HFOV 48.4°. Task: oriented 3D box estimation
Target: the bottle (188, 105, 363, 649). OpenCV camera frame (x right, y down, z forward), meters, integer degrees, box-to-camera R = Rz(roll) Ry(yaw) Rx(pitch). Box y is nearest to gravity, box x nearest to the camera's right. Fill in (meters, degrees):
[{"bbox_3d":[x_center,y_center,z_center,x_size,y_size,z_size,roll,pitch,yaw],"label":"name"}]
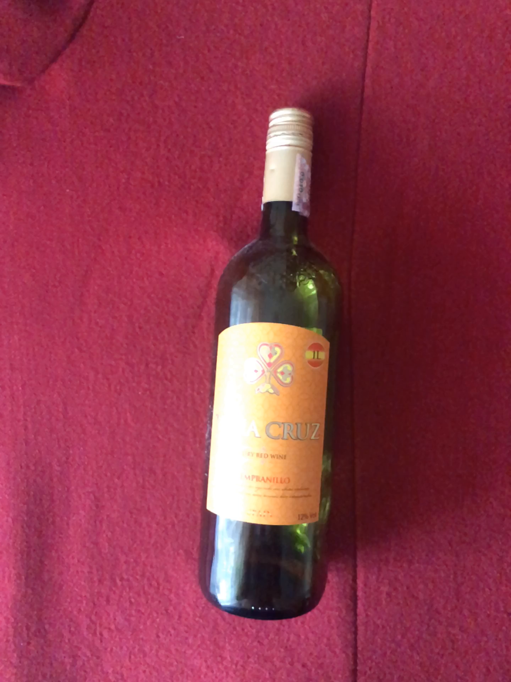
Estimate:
[{"bbox_3d":[0.014,0.018,0.354,0.080,0.070,0.300,3,89,5],"label":"bottle"}]
